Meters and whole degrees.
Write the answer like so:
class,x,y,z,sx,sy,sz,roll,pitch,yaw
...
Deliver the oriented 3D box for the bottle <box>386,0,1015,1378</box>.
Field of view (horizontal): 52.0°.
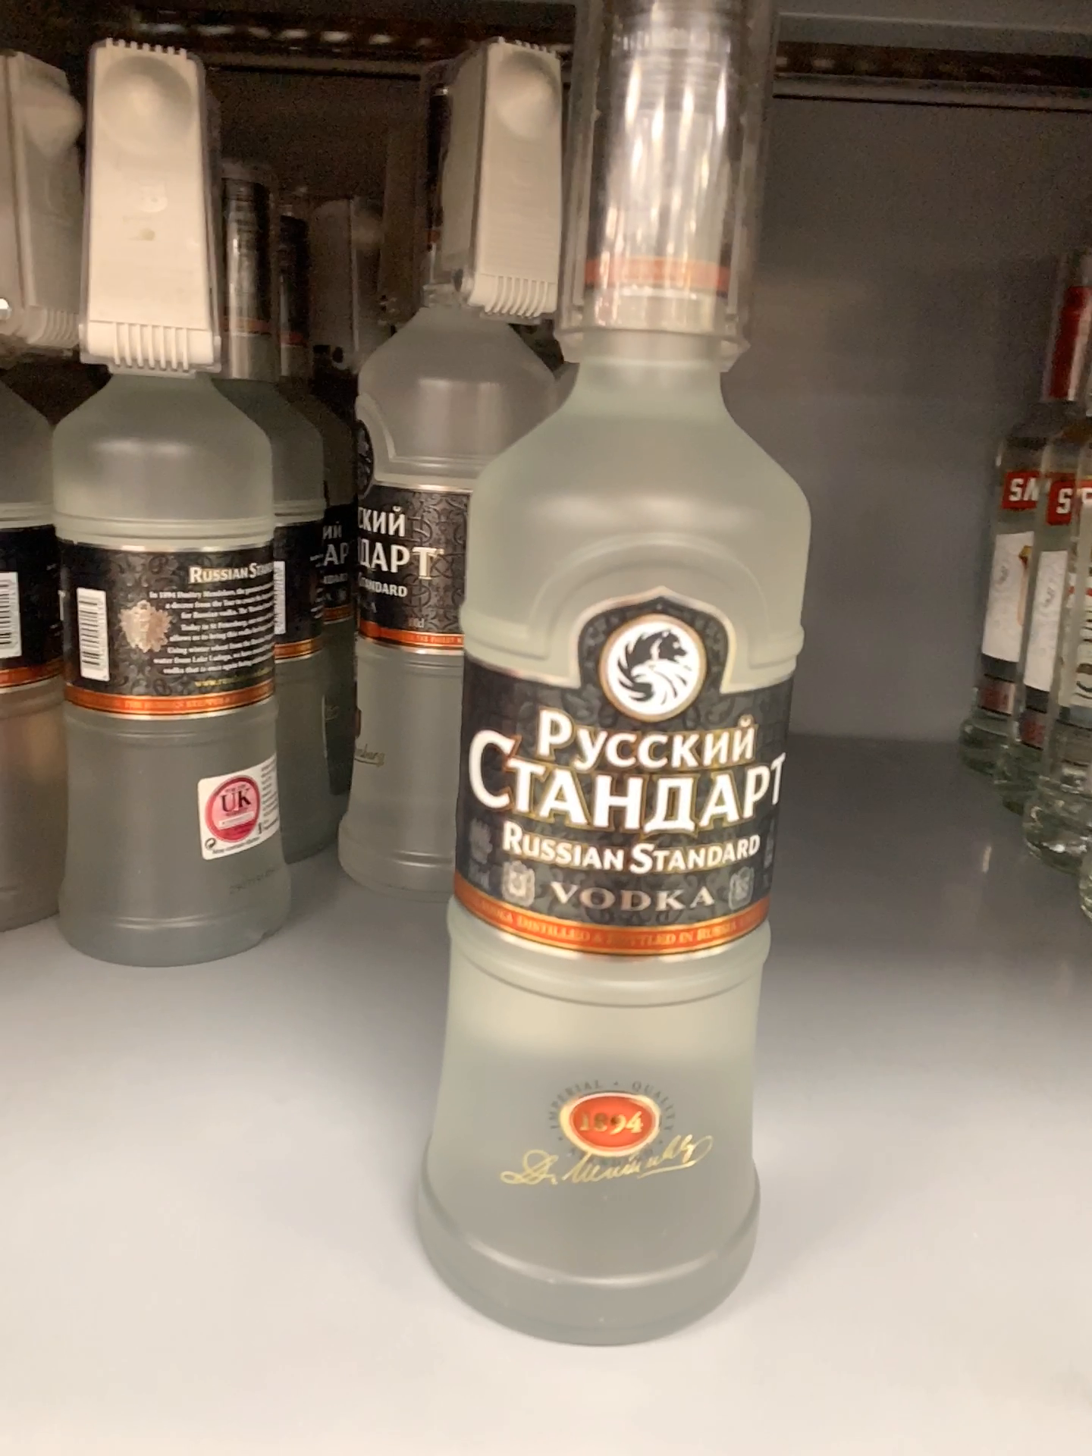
class,x,y,z,sx,sy,sz,roll,pitch,yaw
bottle,0.020,-0.015,0.248,0.092,0.288,0.088,3,15,-1
